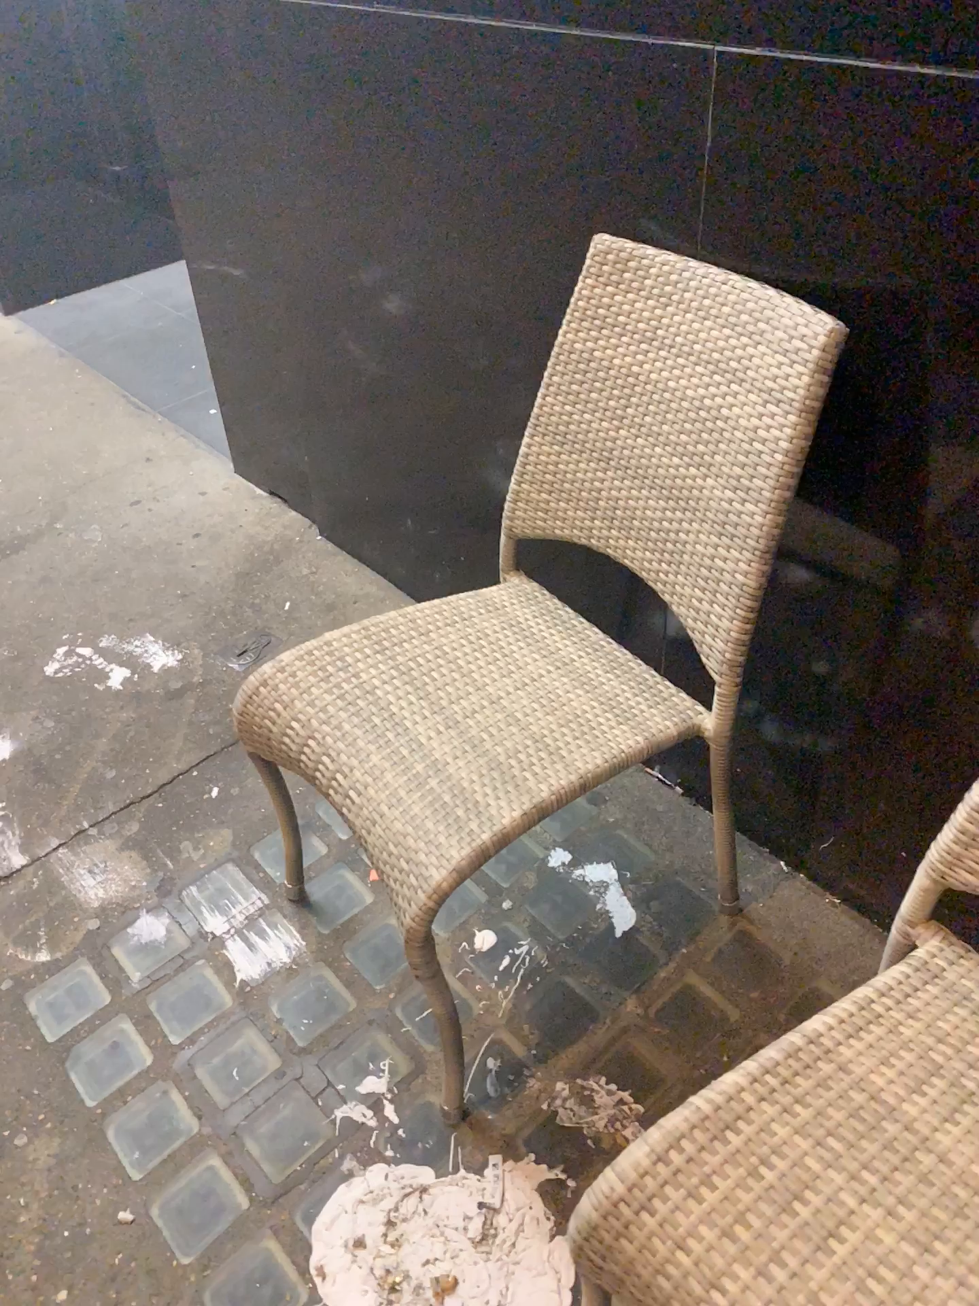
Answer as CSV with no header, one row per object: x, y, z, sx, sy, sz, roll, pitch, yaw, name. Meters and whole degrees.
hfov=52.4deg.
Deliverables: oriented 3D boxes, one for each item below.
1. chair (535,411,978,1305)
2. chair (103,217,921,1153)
0.488,0.403,0.725,0.601,0.901,0.584,-18,40,-30,chair
0.031,0.024,1.202,0.612,0.831,0.484,-26,44,-25,chair
